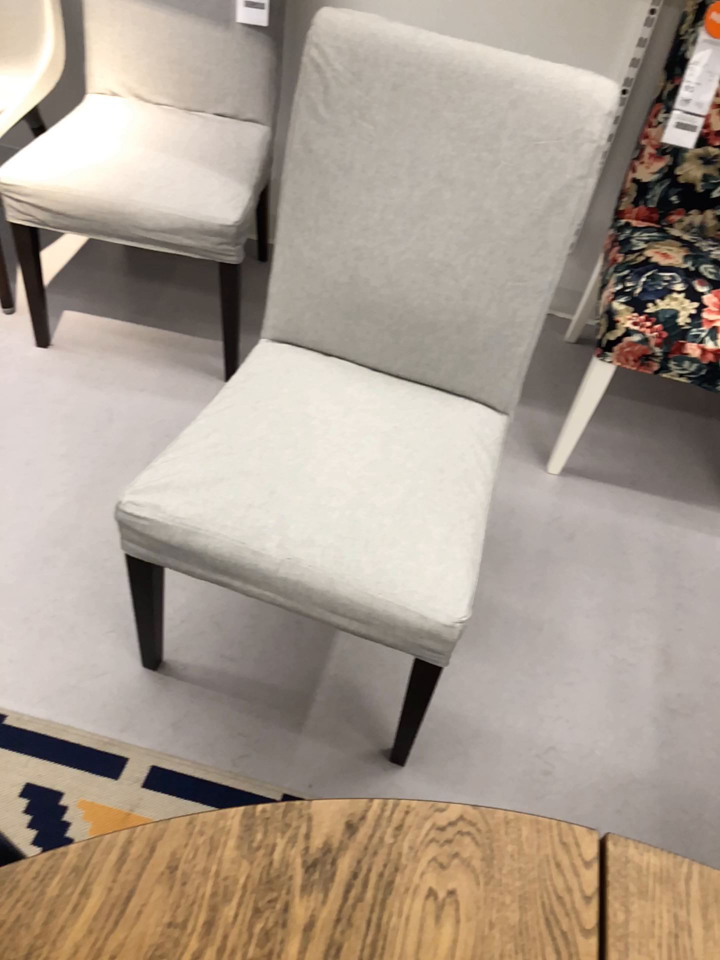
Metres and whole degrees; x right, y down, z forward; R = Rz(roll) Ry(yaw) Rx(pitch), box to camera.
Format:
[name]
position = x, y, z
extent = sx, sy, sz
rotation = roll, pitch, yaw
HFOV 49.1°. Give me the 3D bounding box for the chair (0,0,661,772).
[chair]
position = -0.021, -0.138, 1.156
extent = 0.560, 0.855, 0.644
rotation = 18, 47, 7
